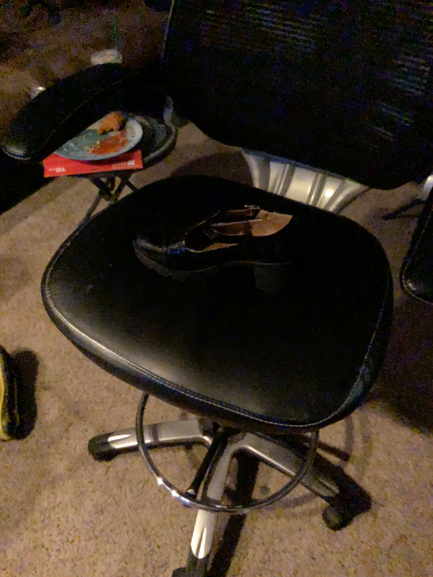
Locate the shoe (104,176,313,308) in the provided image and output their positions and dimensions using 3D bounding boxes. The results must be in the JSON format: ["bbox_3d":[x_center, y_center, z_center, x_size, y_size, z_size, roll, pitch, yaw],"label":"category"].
[{"bbox_3d":[-0.009,-0.071,0.707,0.270,0.100,0.110,11,45,10],"label":"shoe"}]
